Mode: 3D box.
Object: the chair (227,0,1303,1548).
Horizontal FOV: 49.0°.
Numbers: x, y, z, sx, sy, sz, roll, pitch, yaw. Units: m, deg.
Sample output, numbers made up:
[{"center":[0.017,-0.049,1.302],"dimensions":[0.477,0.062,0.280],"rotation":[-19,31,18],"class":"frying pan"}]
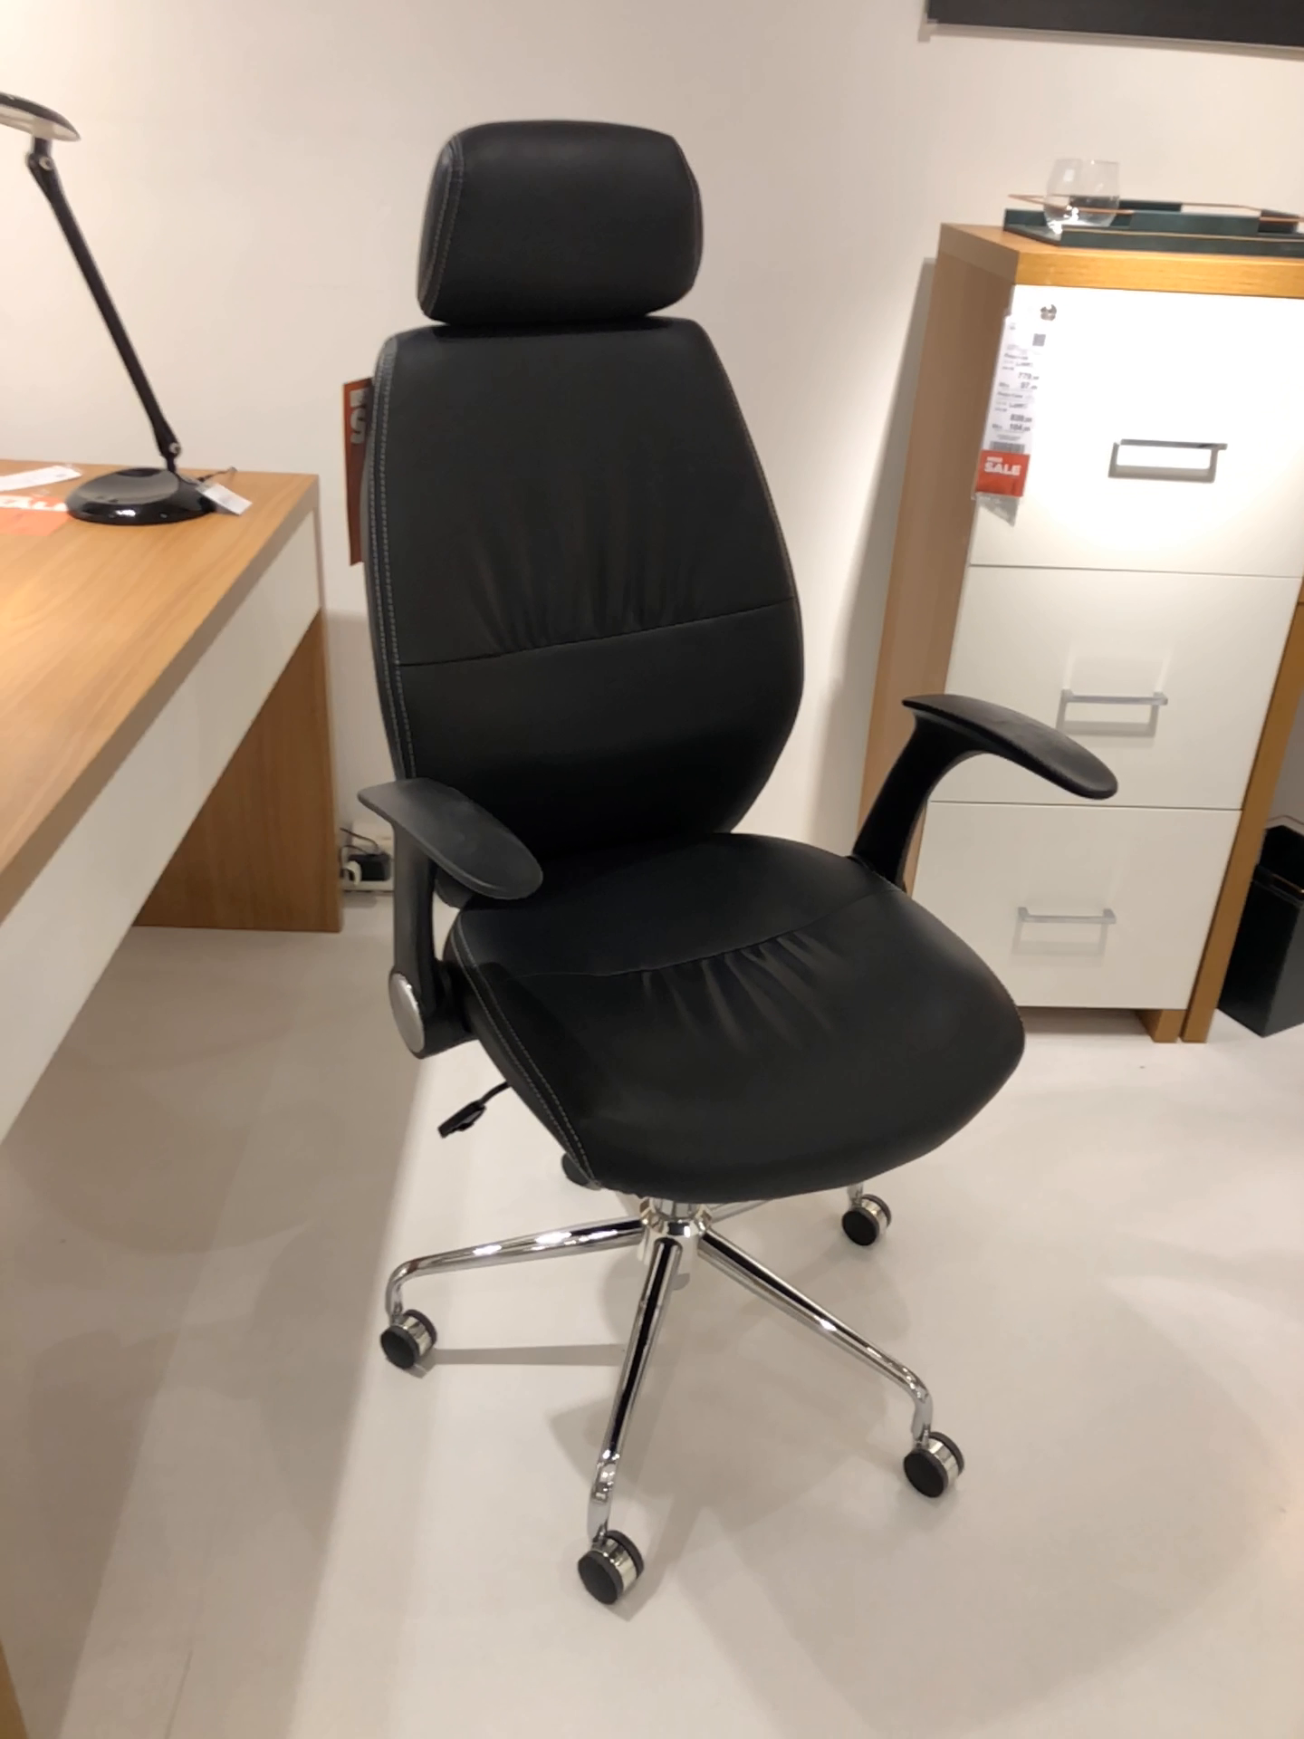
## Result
[{"center":[0.029,-0.120,1.481],"dimensions":[0.691,1.299,0.714],"rotation":[-10,35,-25],"class":"chair"}]
